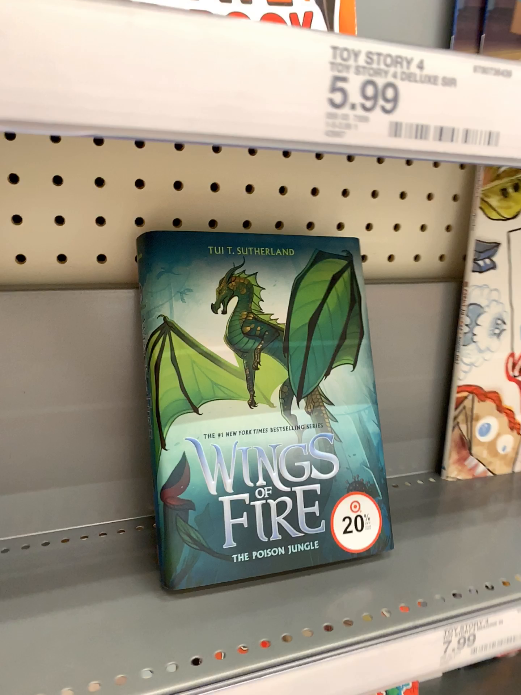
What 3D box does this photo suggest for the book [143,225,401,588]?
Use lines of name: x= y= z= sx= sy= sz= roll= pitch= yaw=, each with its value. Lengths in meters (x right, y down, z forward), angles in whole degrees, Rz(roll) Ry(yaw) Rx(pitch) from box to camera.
book: x=0.006 y=0.029 z=0.360 sx=0.150 sy=0.215 sz=0.036 roll=-3 pitch=-8 yaw=-18
